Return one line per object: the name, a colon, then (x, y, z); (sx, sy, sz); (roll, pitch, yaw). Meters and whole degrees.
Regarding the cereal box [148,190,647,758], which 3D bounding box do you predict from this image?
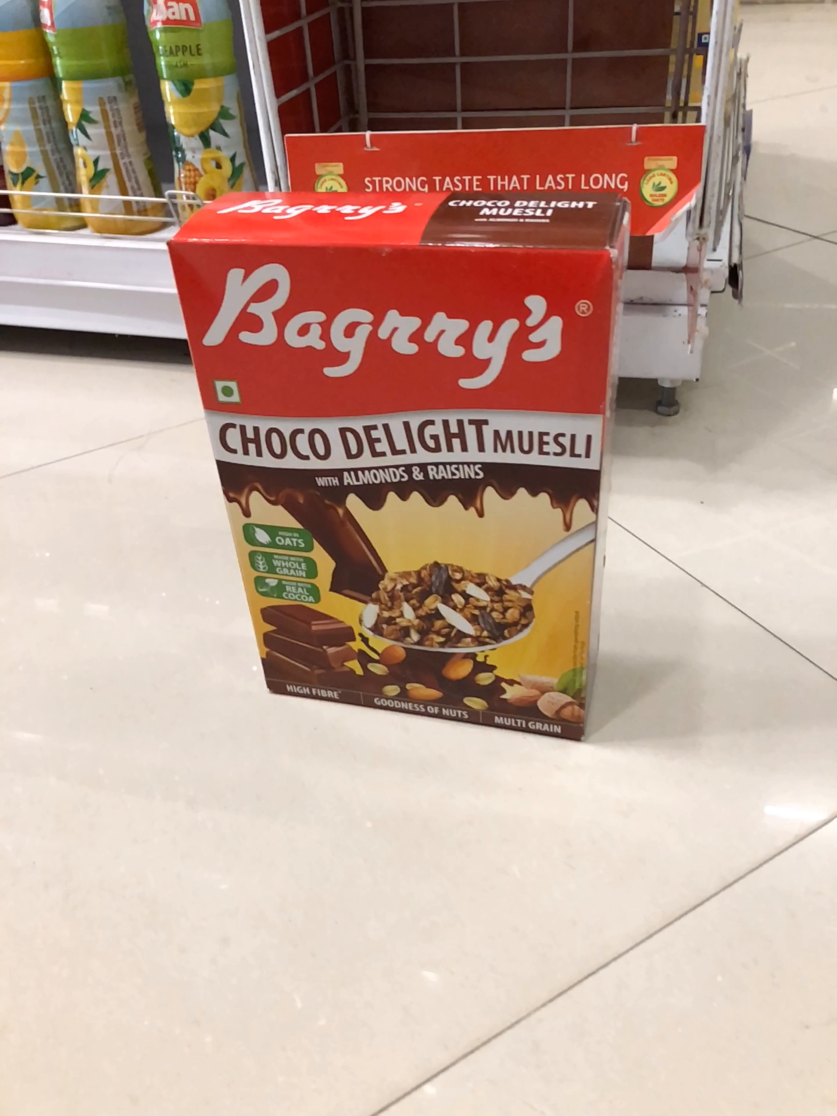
cereal box: (0.000, -0.033, 0.449); (0.190, 0.258, 0.070); (7, 37, 14)
